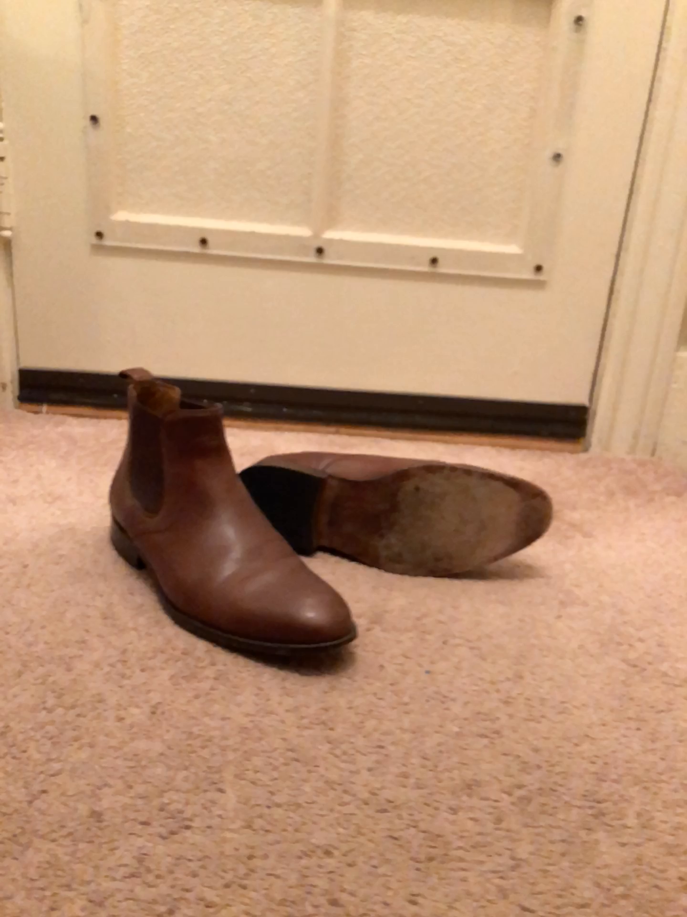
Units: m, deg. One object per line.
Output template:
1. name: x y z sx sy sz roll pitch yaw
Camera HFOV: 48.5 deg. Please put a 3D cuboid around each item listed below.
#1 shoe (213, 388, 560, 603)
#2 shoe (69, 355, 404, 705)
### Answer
1. shoe: 0.042 0.026 0.755 0.296 0.119 0.170 8 19 5
2. shoe: -0.103 0.032 0.610 0.109 0.158 0.297 -12 26 -40
